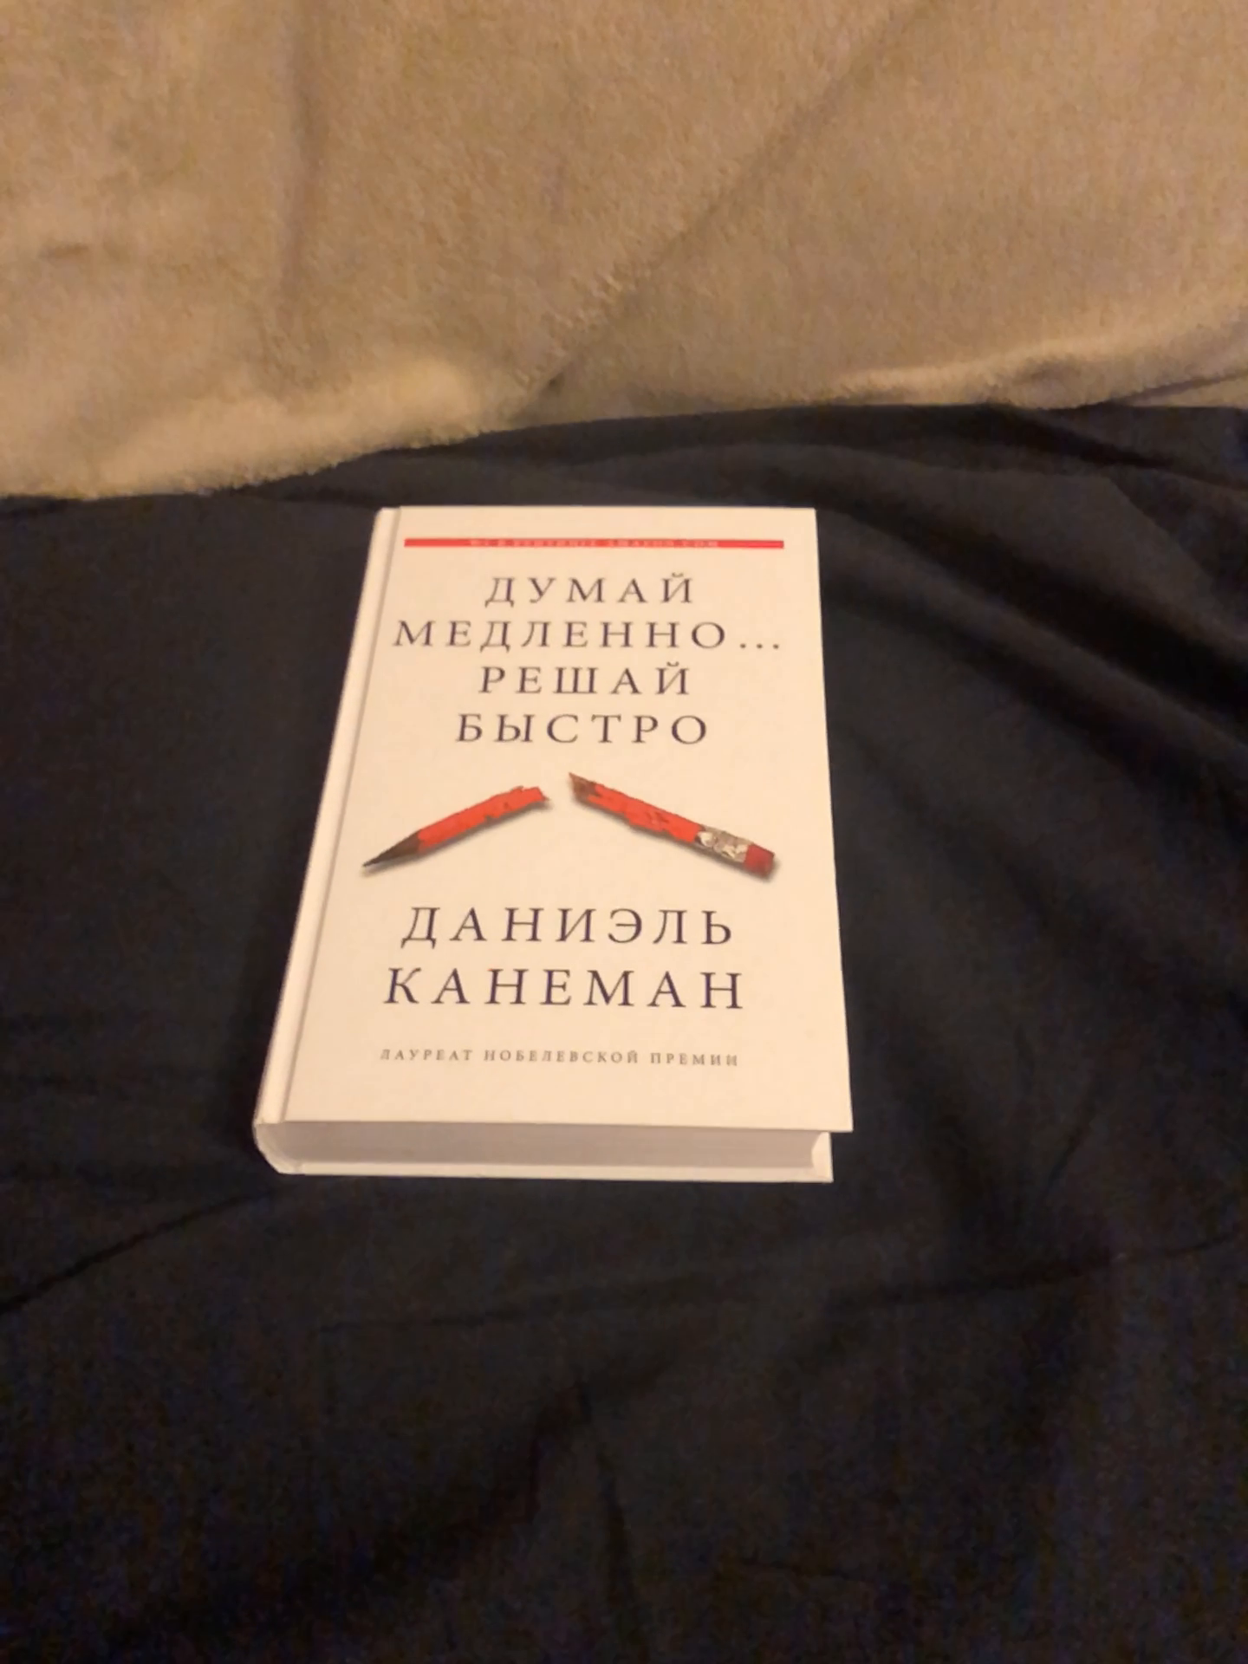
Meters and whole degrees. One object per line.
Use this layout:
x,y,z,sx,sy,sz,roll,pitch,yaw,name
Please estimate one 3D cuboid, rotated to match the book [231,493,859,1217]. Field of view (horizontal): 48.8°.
-0.014,-0.005,0.406,0.149,0.050,0.221,1,56,3,book
